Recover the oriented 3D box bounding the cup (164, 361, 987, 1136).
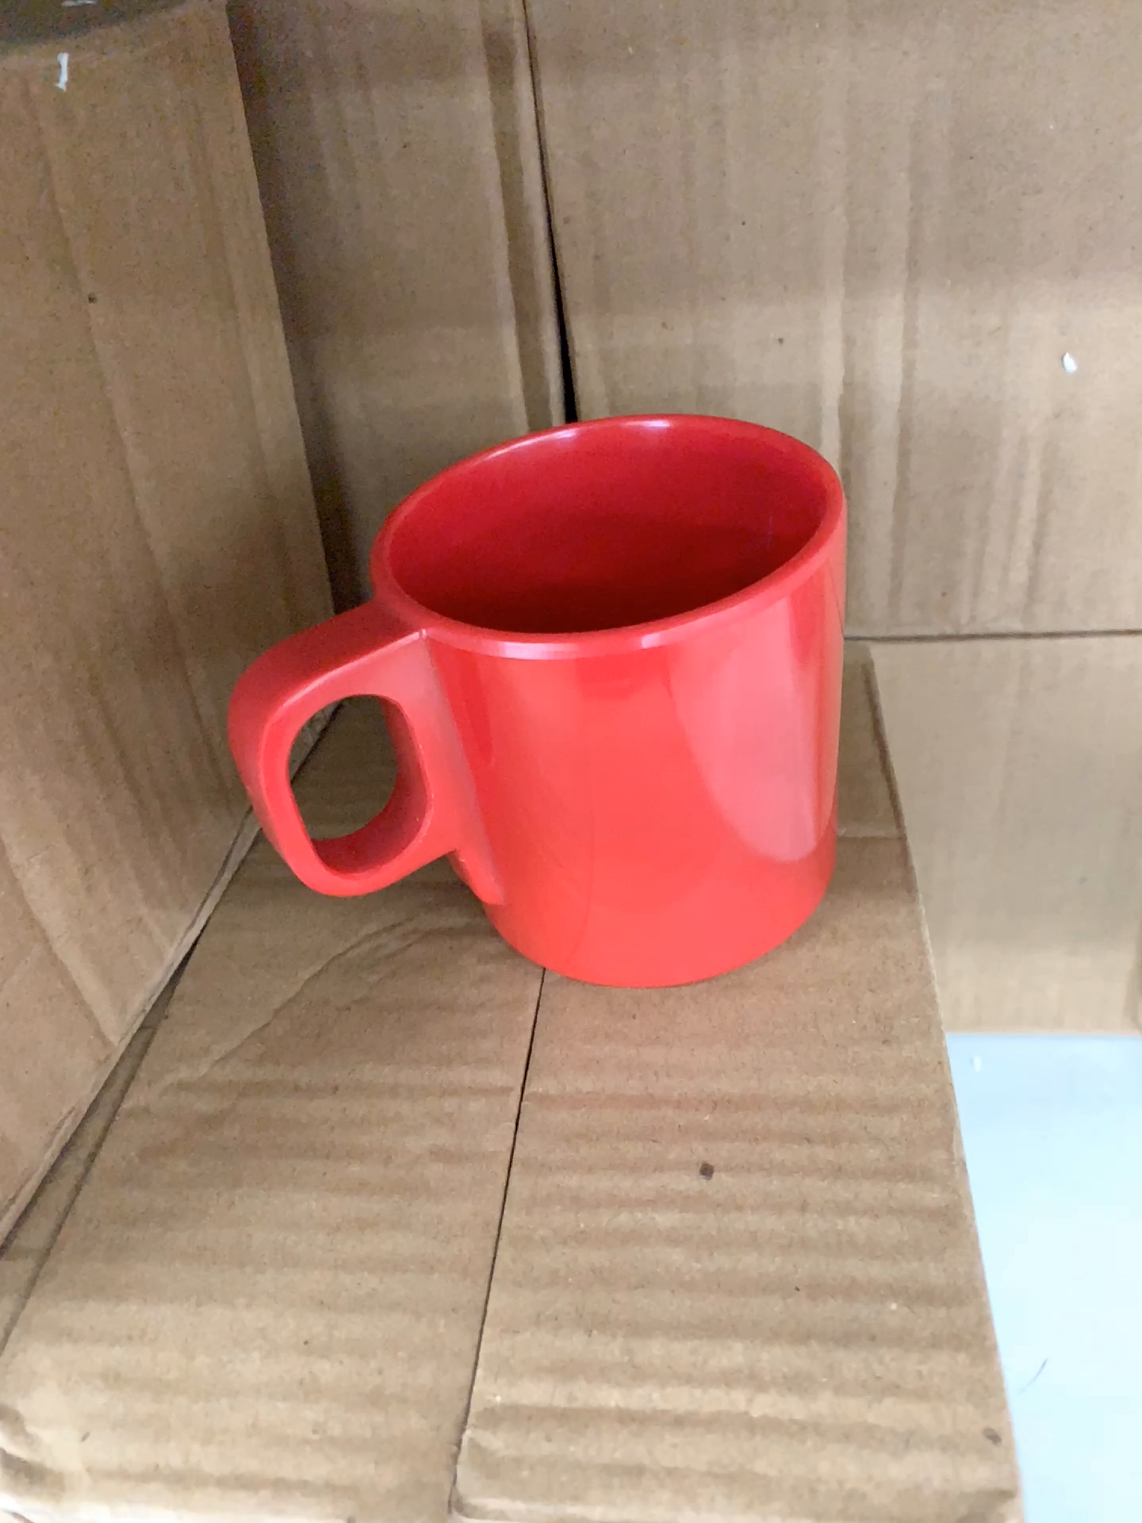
[{"bbox_3d":[0.002,-0.007,0.199,0.103,0.073,0.066,-23,41,-17],"label":"cup"}]
